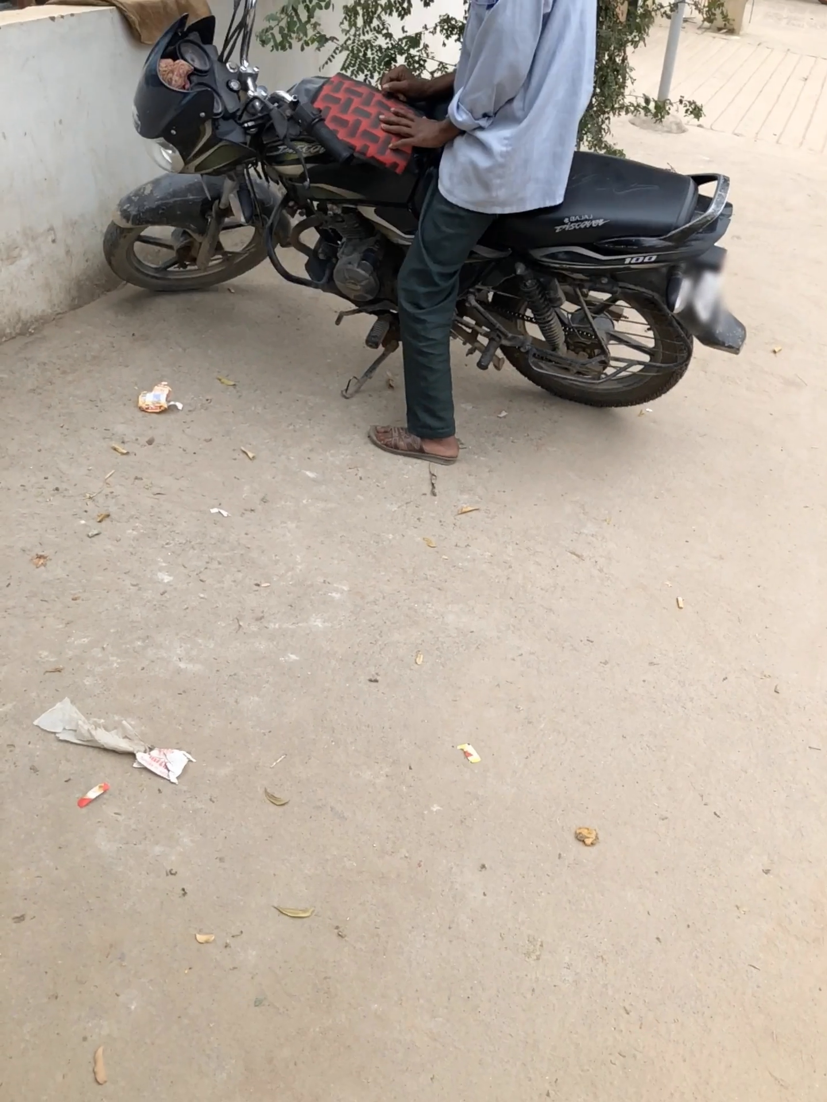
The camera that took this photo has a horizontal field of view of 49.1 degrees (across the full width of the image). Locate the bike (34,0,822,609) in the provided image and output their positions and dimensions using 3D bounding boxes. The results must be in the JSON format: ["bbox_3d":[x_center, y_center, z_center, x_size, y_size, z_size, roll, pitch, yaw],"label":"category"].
[{"bbox_3d":[0.023,-0.801,2.352,1.496,1.332,0.791,13,38,11],"label":"bike"}]
